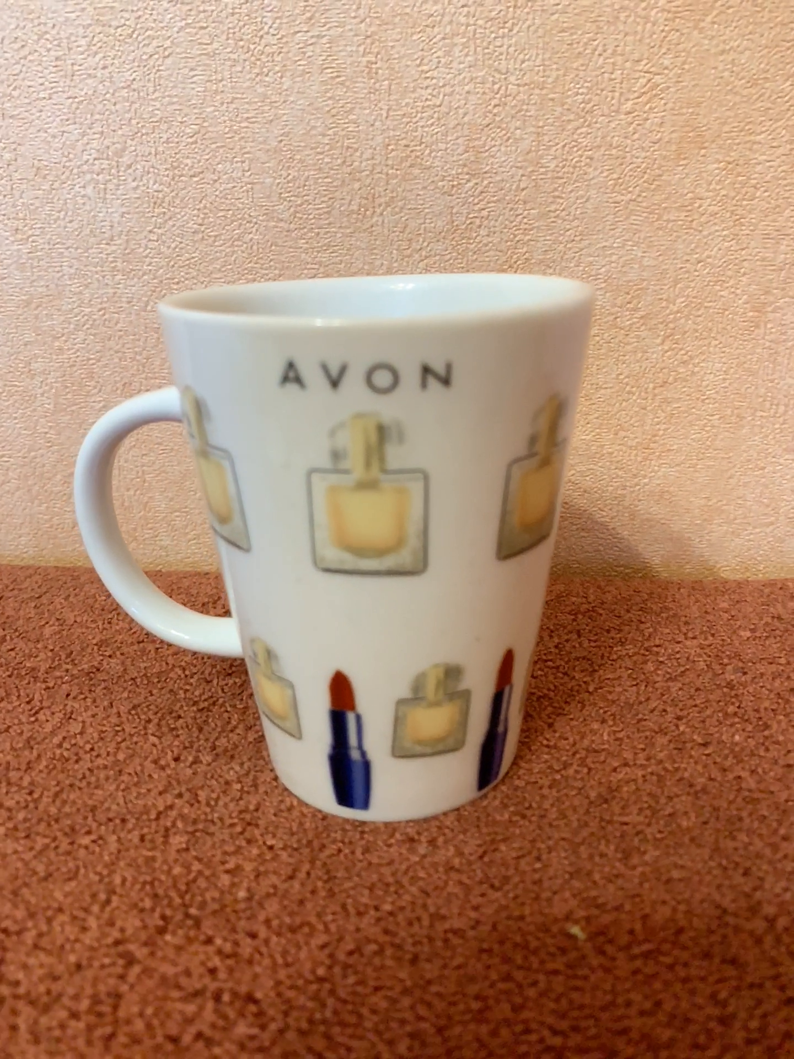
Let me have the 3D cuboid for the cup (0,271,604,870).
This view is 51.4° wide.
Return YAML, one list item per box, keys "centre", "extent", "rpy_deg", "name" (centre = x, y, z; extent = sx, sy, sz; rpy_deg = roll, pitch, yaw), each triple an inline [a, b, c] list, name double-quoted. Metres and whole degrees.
- centre: [-0.014, -0.001, 0.171]
  extent: [0.103, 0.093, 0.071]
  rpy_deg: [4, 24, 13]
  name: "cup"
